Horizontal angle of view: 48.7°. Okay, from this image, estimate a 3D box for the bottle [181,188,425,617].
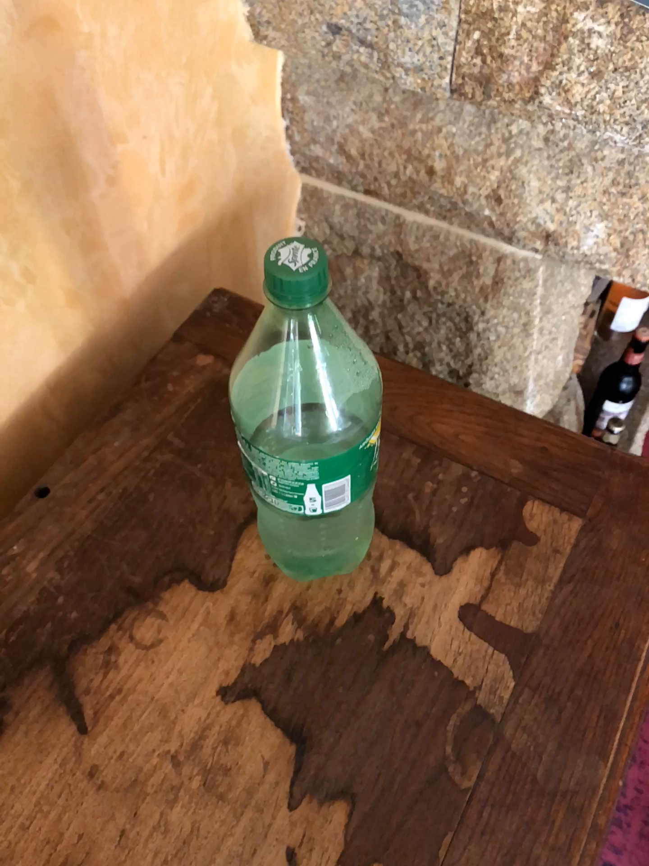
[{"bbox_3d":[-0.010,0.006,0.434,0.090,0.279,0.090,-1,54,1],"label":"bottle"}]
